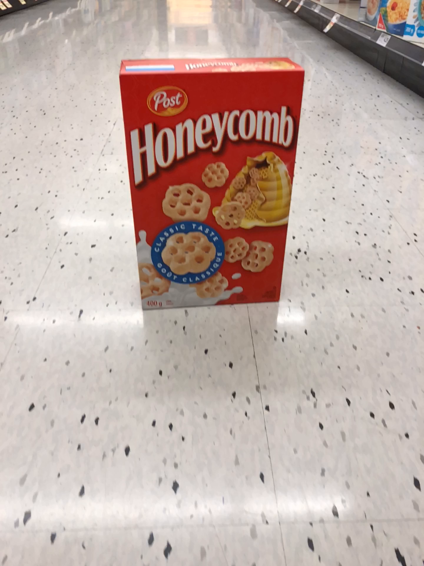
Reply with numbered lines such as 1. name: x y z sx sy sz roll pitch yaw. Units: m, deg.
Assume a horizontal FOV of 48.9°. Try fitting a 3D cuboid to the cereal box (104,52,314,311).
1. cereal box: -0.008 -0.117 0.584 0.210 0.298 0.091 -3 35 -6
